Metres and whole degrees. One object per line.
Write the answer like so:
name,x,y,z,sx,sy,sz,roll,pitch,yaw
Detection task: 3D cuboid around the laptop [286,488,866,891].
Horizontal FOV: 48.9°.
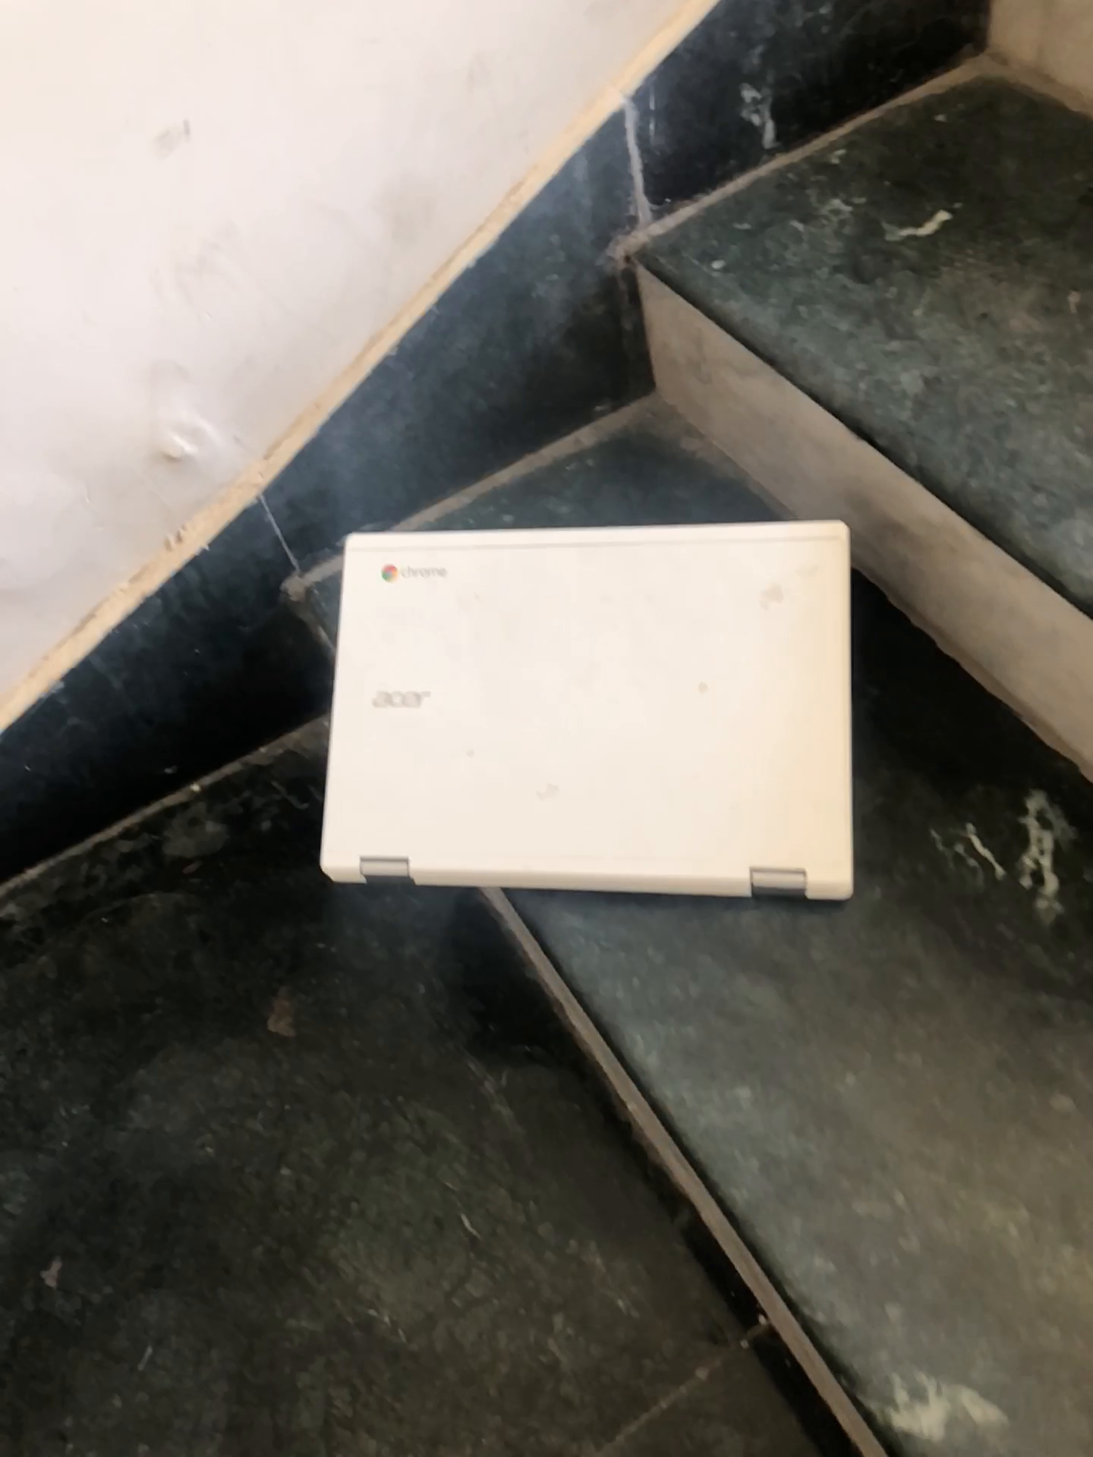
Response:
laptop,0.021,-0.025,0.663,0.282,0.091,0.190,1,58,9
